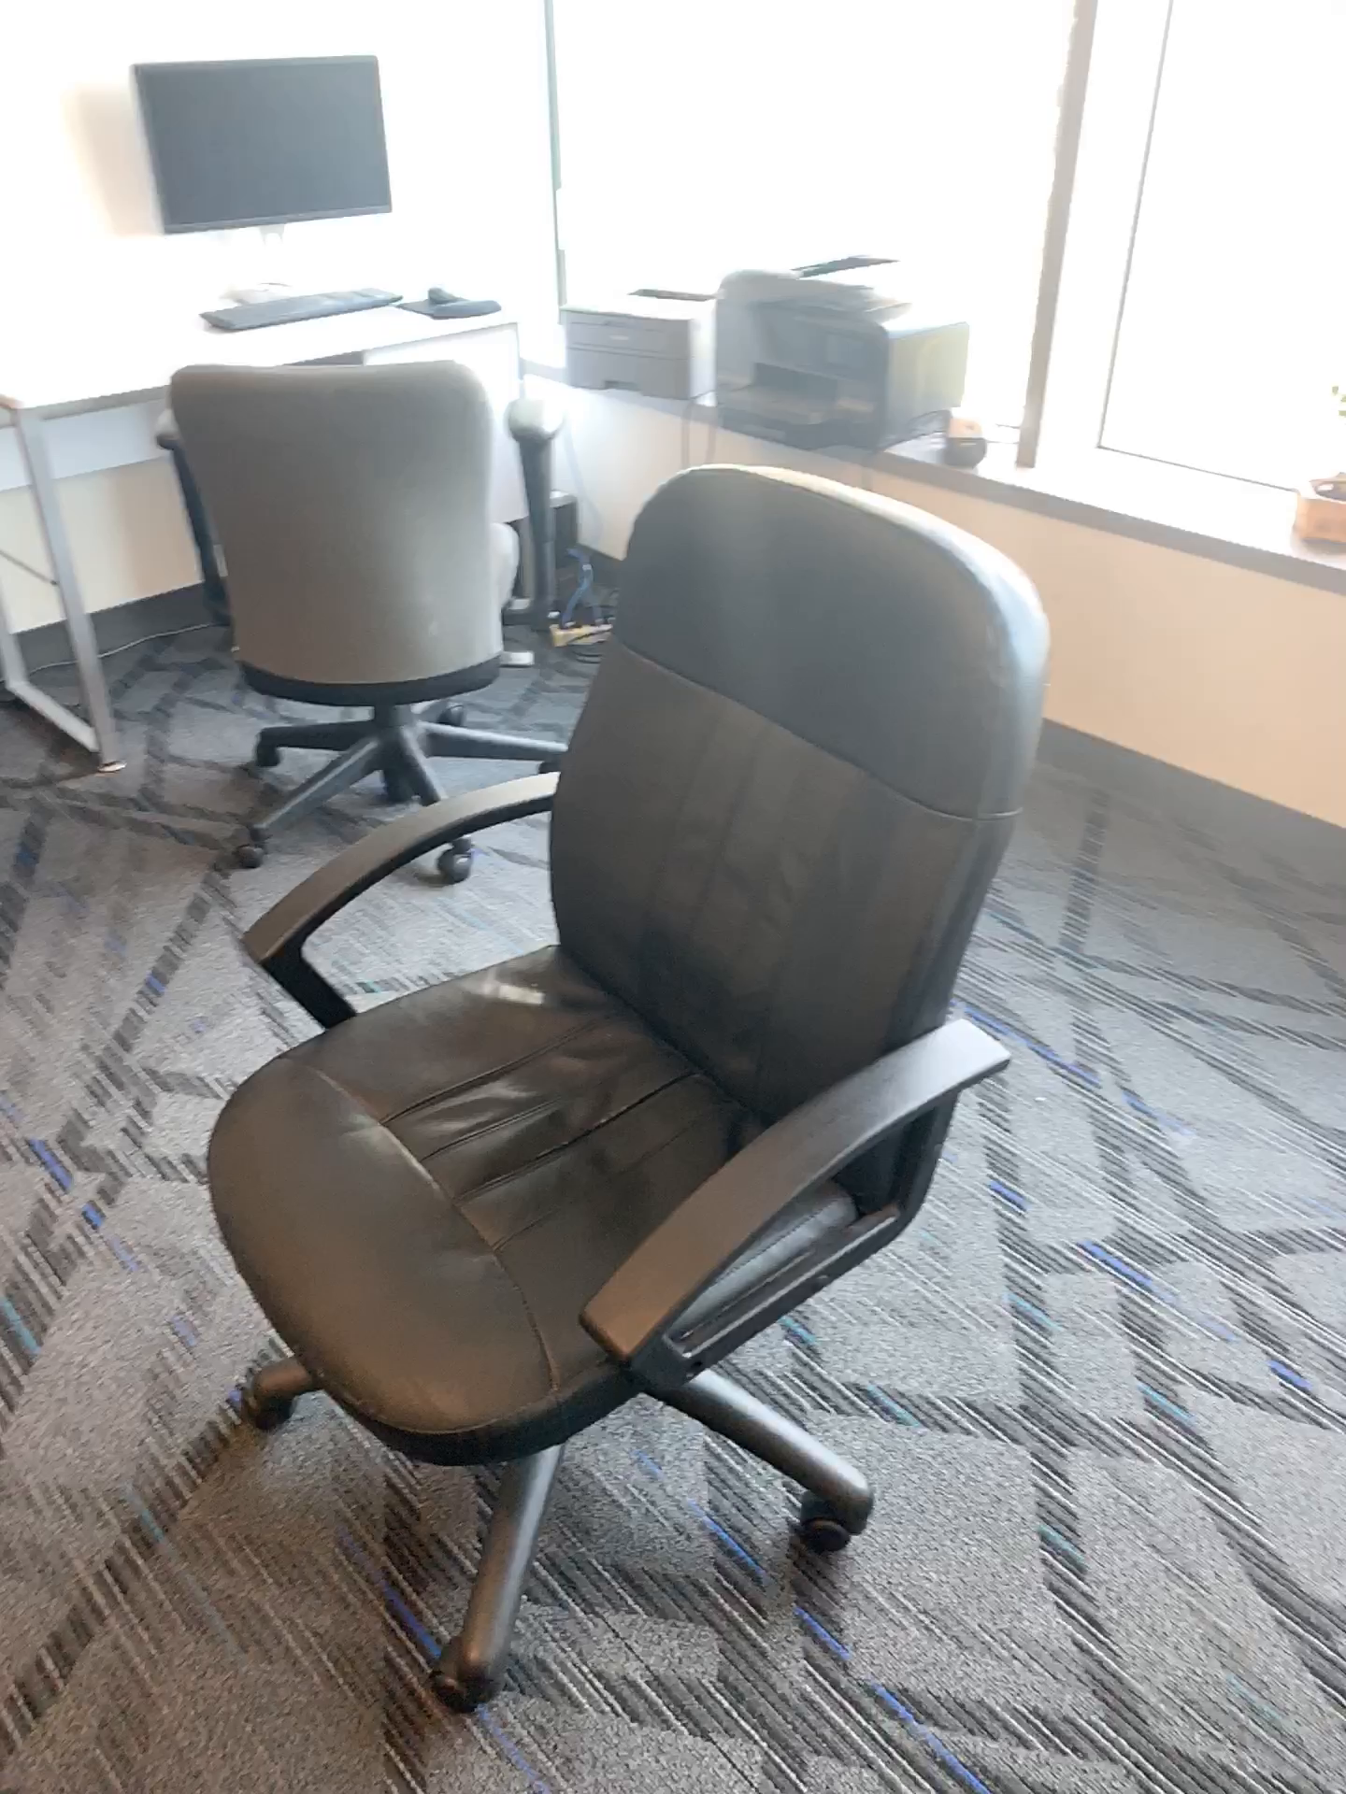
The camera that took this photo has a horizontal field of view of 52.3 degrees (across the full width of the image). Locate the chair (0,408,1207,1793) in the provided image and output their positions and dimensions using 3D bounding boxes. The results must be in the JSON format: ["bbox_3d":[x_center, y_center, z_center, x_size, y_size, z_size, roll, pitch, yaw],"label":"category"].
[{"bbox_3d":[-0.104,0.131,1.267,0.692,0.892,0.704,-24,39,-32],"label":"chair"}]
